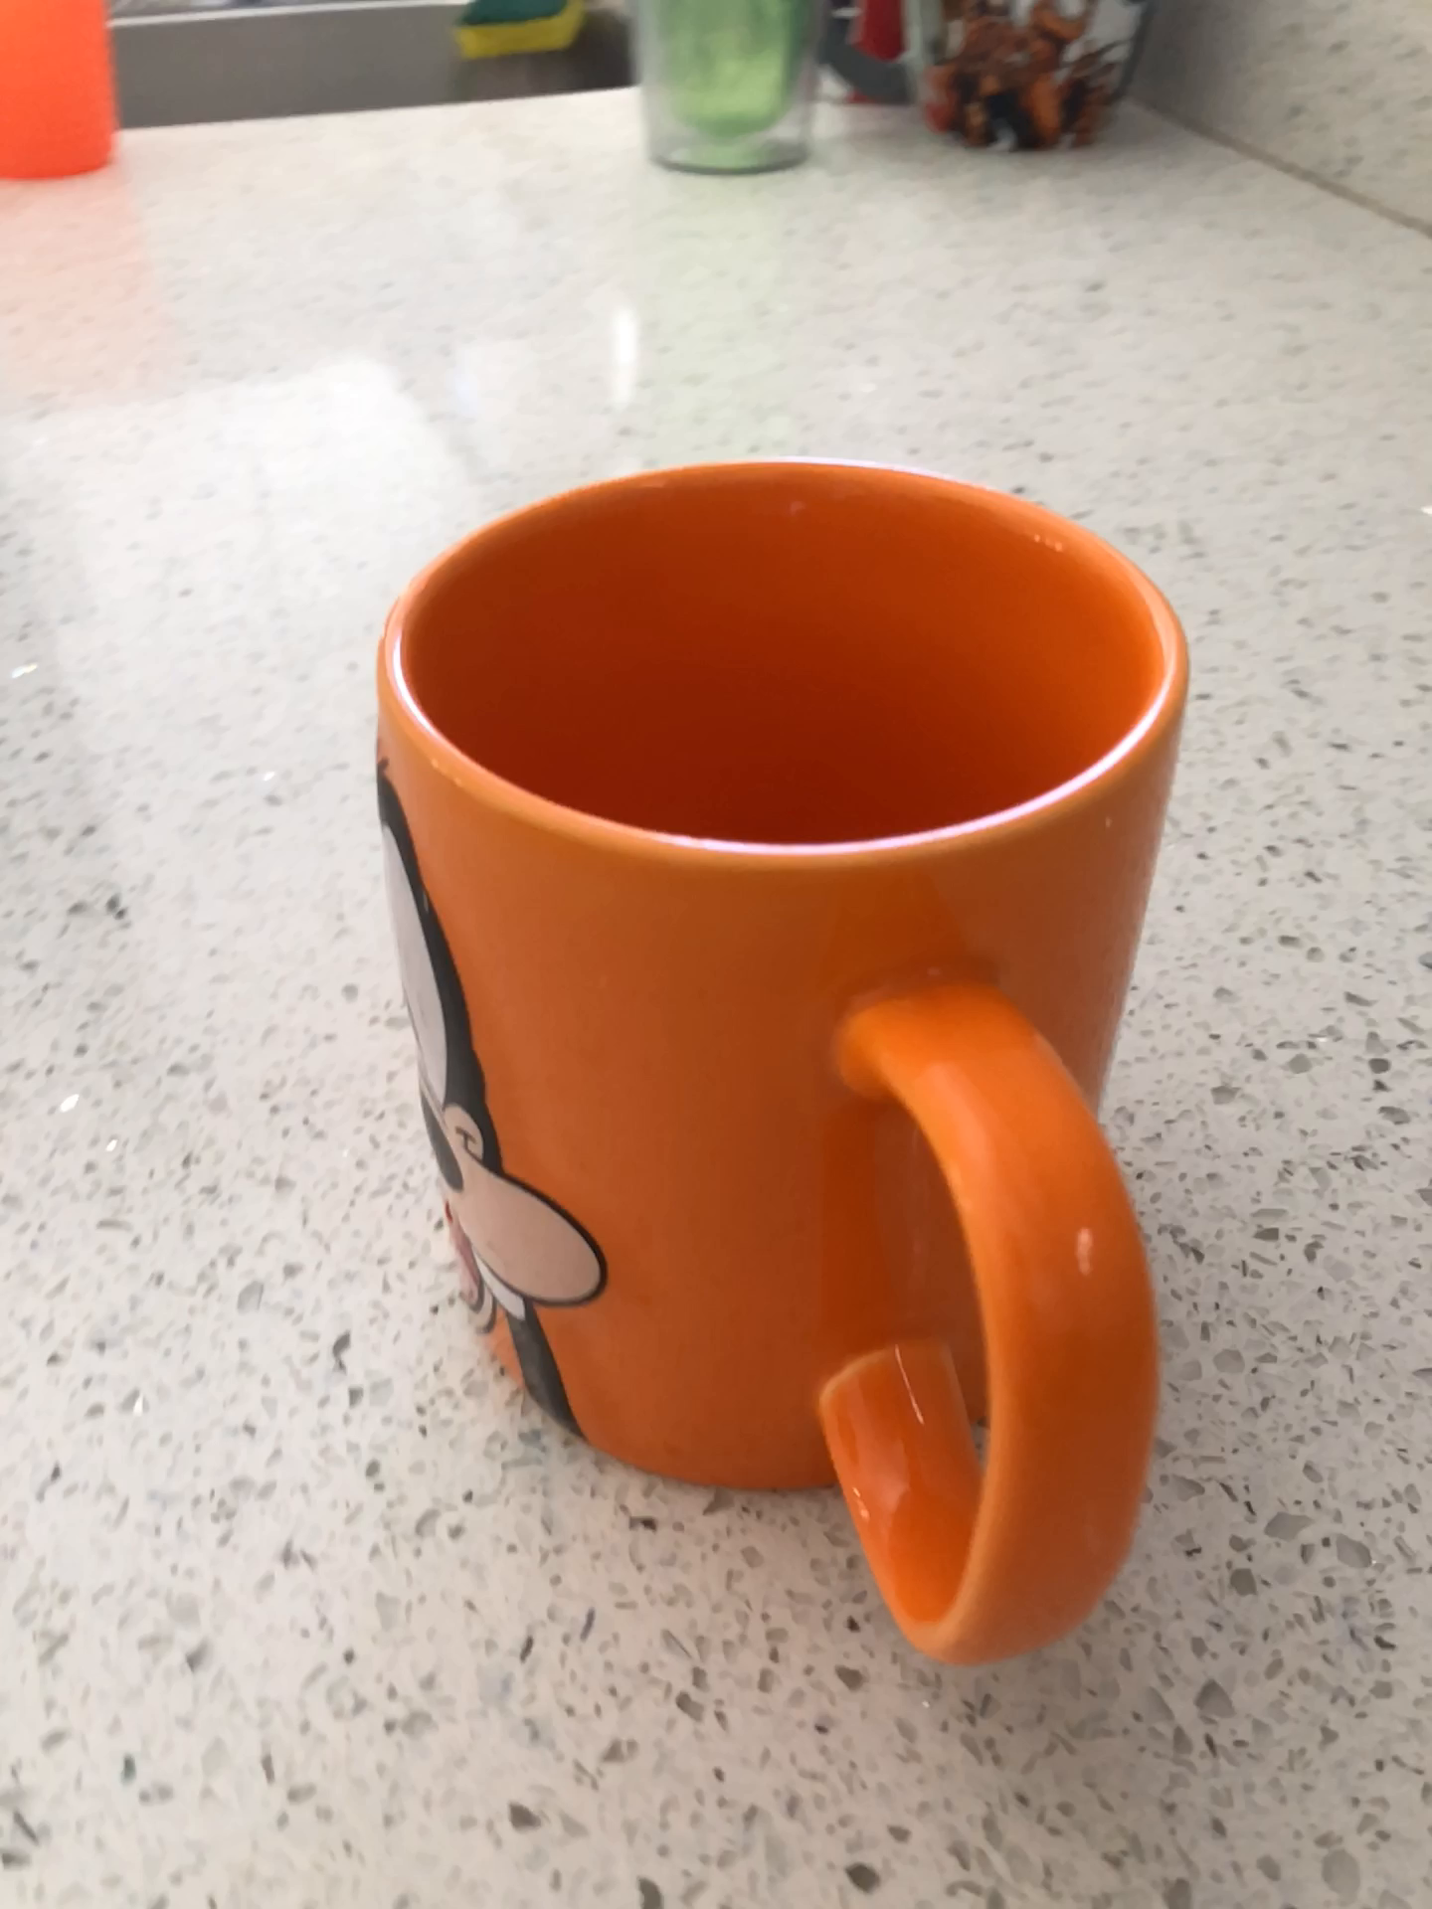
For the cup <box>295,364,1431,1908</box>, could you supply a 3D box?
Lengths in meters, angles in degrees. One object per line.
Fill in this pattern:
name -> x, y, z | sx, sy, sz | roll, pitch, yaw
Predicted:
cup -> 0.012, 0.011, 0.180 | 0.090, 0.101, 0.131 | -10, 40, -12
